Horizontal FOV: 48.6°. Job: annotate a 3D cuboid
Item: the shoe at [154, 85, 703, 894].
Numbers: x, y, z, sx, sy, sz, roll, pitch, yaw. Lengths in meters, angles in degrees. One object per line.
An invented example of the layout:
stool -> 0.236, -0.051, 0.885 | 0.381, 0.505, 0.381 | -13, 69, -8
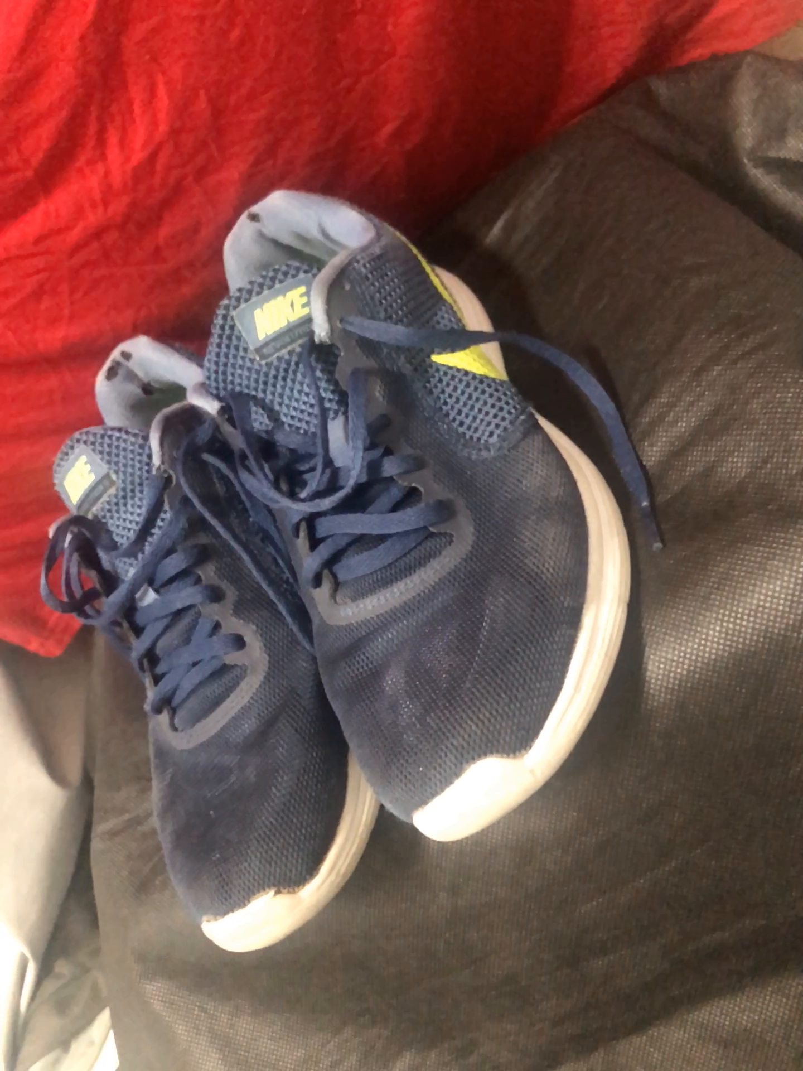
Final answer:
shoe -> -0.011, -0.032, 0.314 | 0.110, 0.089, 0.262 | -36, 43, 25

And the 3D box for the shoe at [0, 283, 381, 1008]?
shoe -> -0.097, 0.033, 0.338 | 0.110, 0.099, 0.232 | -36, 43, 25
